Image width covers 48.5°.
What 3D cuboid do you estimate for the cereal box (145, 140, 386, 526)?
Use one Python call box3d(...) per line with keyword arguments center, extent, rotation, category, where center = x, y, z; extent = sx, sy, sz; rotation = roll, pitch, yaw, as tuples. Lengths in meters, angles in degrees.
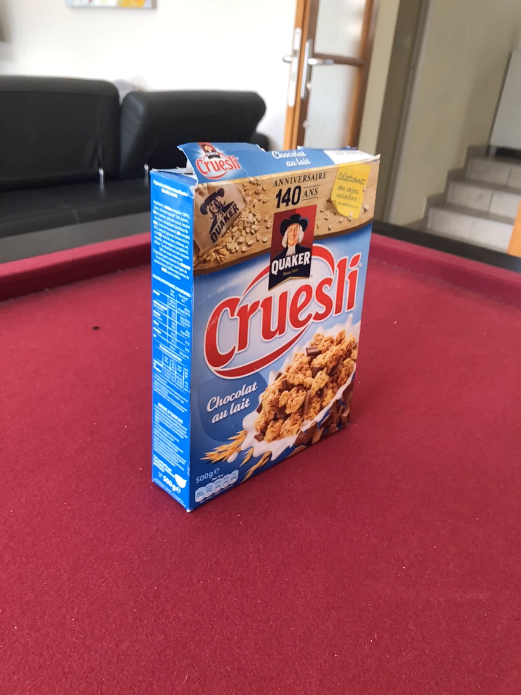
box3d(center=(0.003, -0.019, 0.451), extent=(0.050, 0.258, 0.191), rotation=(26, 33, 35), category="cereal box")
